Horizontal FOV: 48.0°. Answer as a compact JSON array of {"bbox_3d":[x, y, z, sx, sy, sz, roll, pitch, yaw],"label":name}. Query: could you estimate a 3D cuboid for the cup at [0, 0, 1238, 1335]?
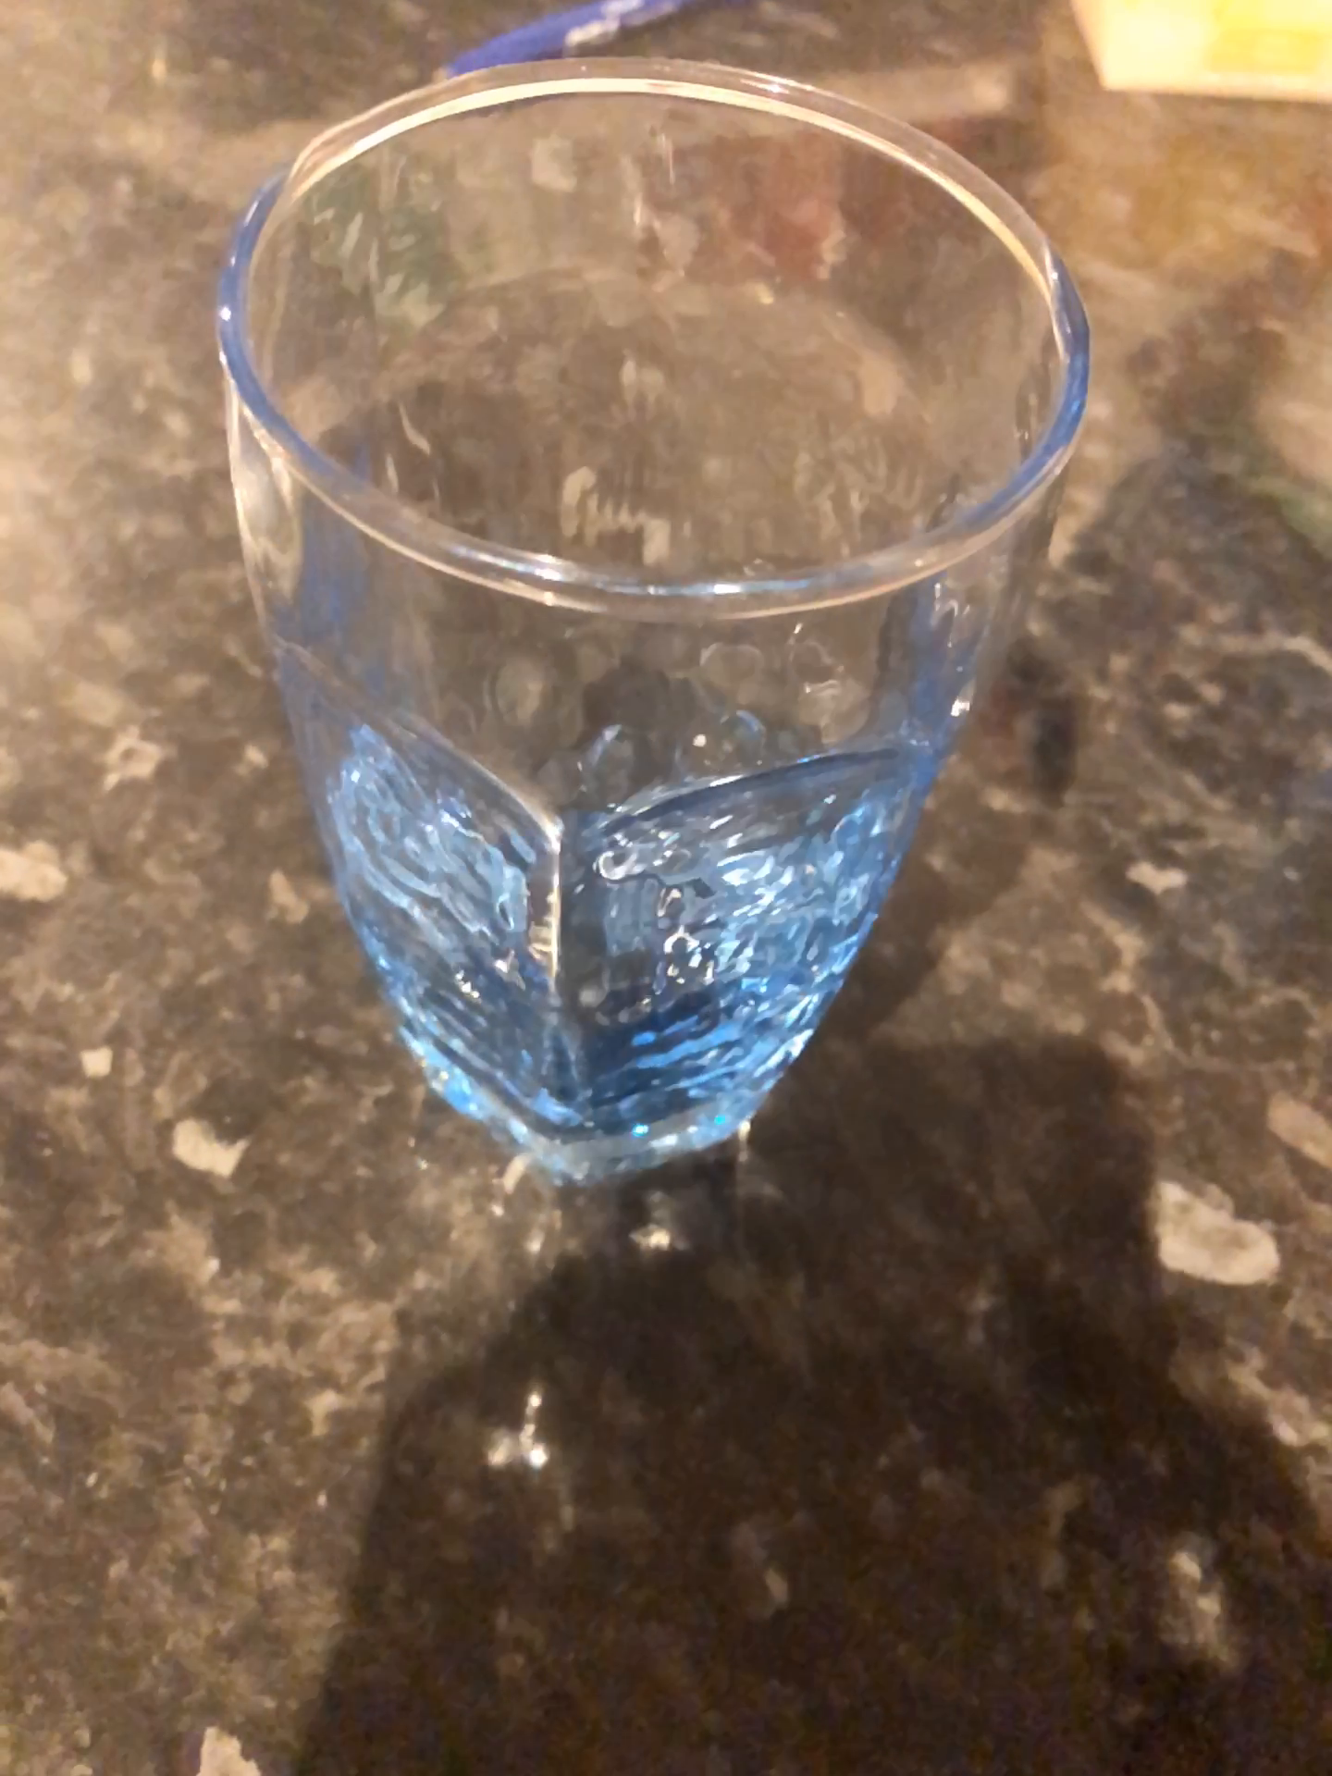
[{"bbox_3d":[-0.011,-0.021,0.169,0.070,0.119,0.080,-33,65,-24],"label":"cup"}]
